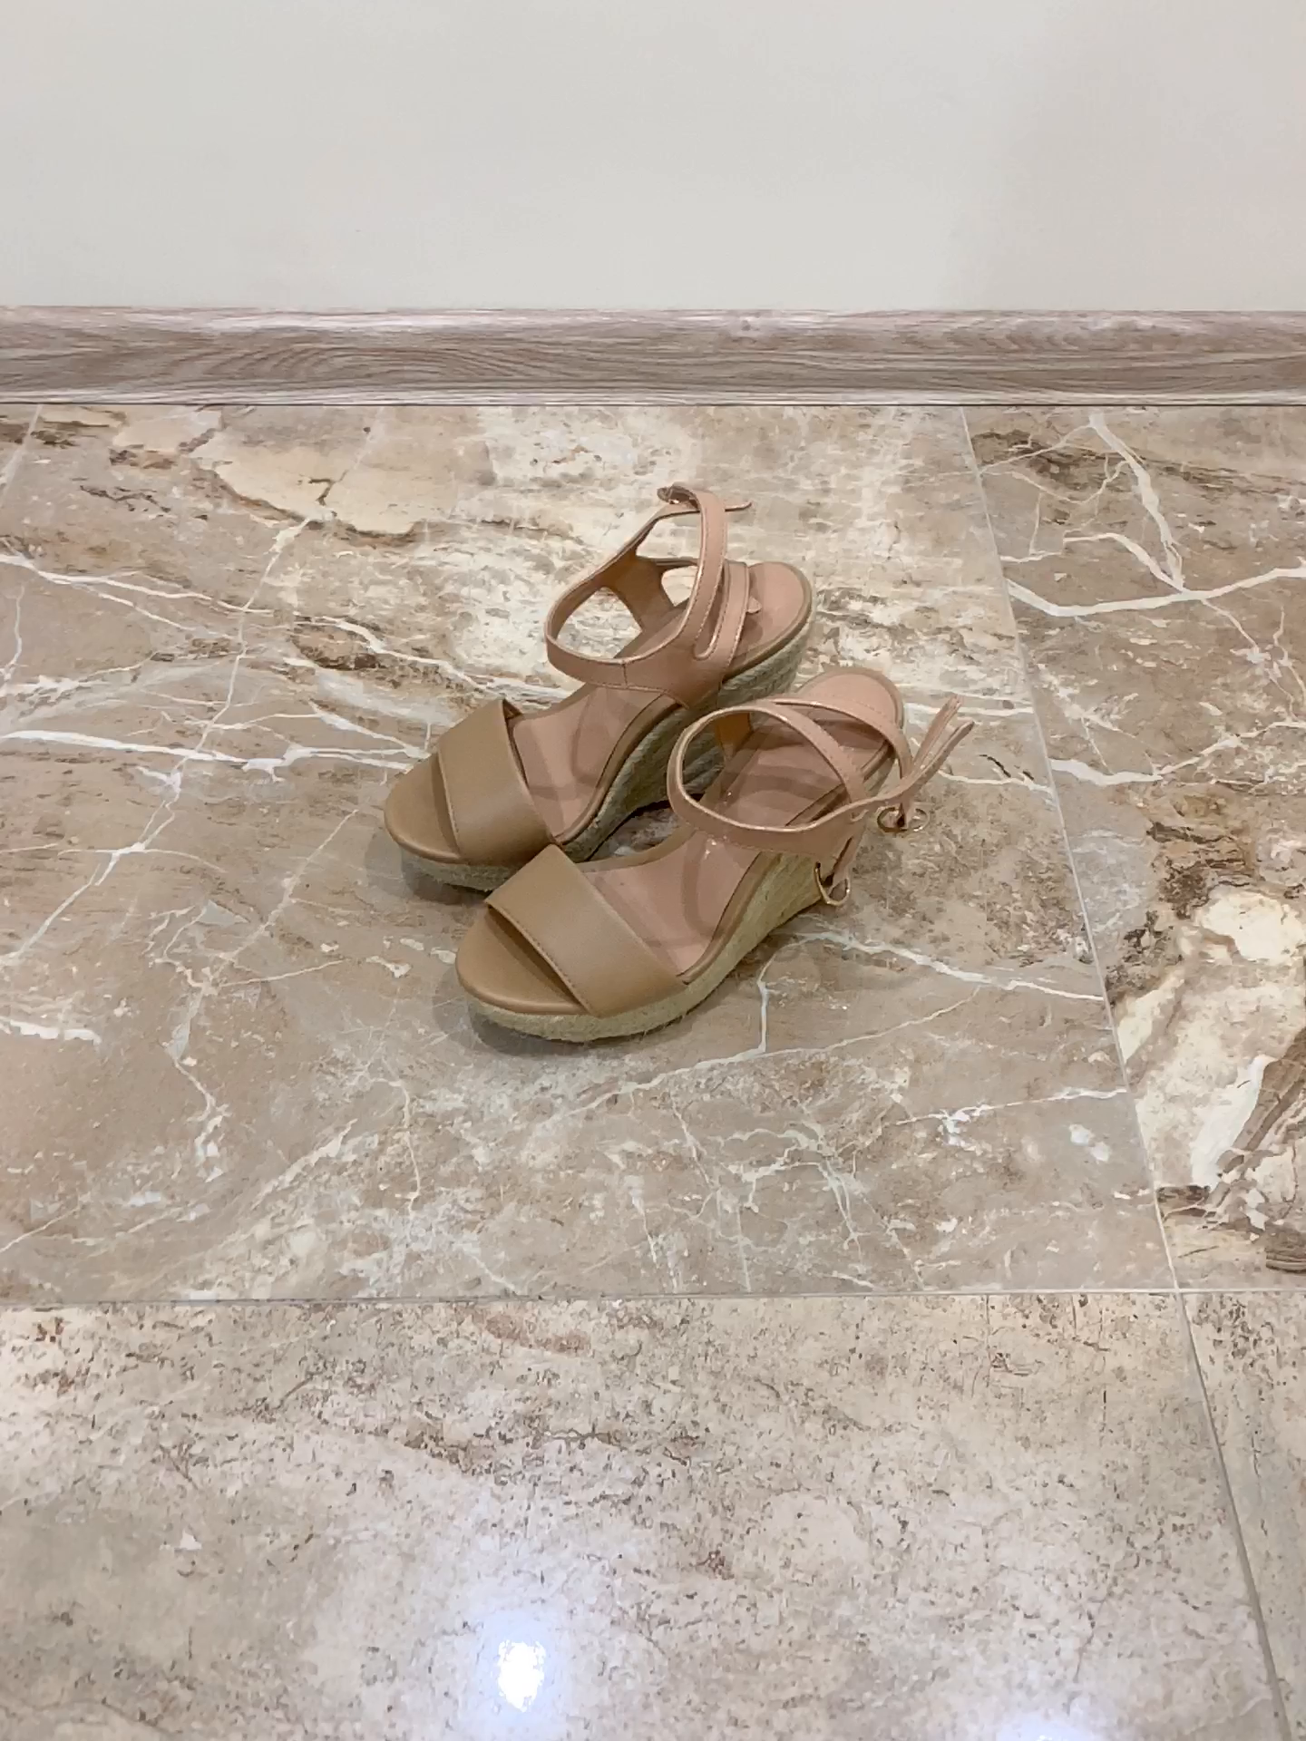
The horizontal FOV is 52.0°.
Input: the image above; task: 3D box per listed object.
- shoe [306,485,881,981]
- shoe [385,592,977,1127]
[{"bbox_3d":[-0.025,-0.059,0.593,0.210,0.149,0.090,-18,57,-13],"label":"shoe"},{"bbox_3d":[0.012,-0.005,0.563,0.210,0.129,0.090,-26,59,-18],"label":"shoe"}]
